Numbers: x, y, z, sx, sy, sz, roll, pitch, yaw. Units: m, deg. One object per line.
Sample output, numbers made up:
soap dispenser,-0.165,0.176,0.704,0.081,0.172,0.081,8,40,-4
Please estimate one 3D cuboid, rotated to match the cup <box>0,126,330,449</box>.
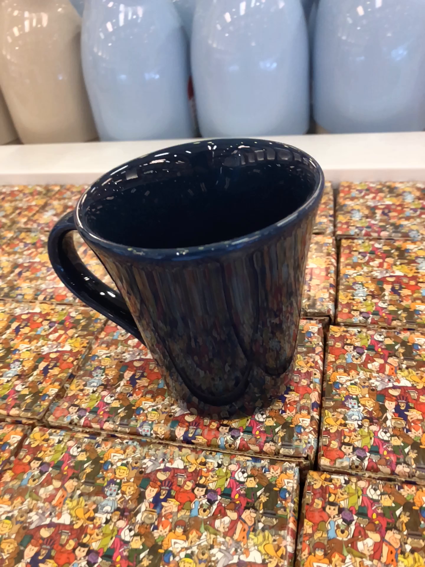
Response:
cup,-0.012,-0.005,0.209,0.120,0.089,0.101,1,37,14
